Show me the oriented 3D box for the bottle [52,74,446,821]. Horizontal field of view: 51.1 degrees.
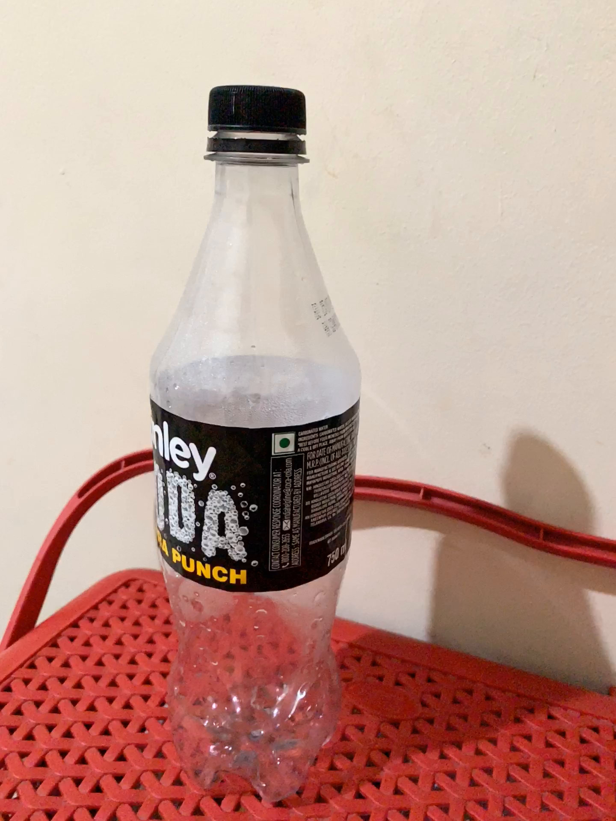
[{"bbox_3d":[-0.019,0.020,0.214,0.070,0.228,0.080,-17,29,-35],"label":"bottle"}]
